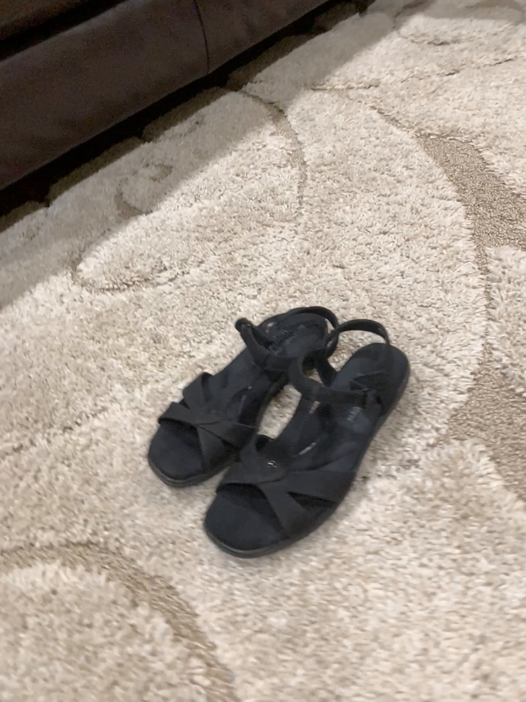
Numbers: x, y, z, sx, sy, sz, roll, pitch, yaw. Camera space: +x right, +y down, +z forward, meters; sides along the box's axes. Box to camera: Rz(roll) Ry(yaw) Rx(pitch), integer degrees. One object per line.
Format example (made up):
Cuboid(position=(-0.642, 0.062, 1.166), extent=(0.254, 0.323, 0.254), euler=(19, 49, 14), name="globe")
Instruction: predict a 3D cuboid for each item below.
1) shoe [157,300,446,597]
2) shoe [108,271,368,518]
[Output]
Cuboid(position=(0.042, 0.067, 0.451), extent=(0.100, 0.059, 0.242), euler=(30, 61, 36), name="shoe")
Cuboid(position=(-0.015, 0.029, 0.517), extent=(0.100, 0.059, 0.242), euler=(30, 61, 36), name="shoe")
